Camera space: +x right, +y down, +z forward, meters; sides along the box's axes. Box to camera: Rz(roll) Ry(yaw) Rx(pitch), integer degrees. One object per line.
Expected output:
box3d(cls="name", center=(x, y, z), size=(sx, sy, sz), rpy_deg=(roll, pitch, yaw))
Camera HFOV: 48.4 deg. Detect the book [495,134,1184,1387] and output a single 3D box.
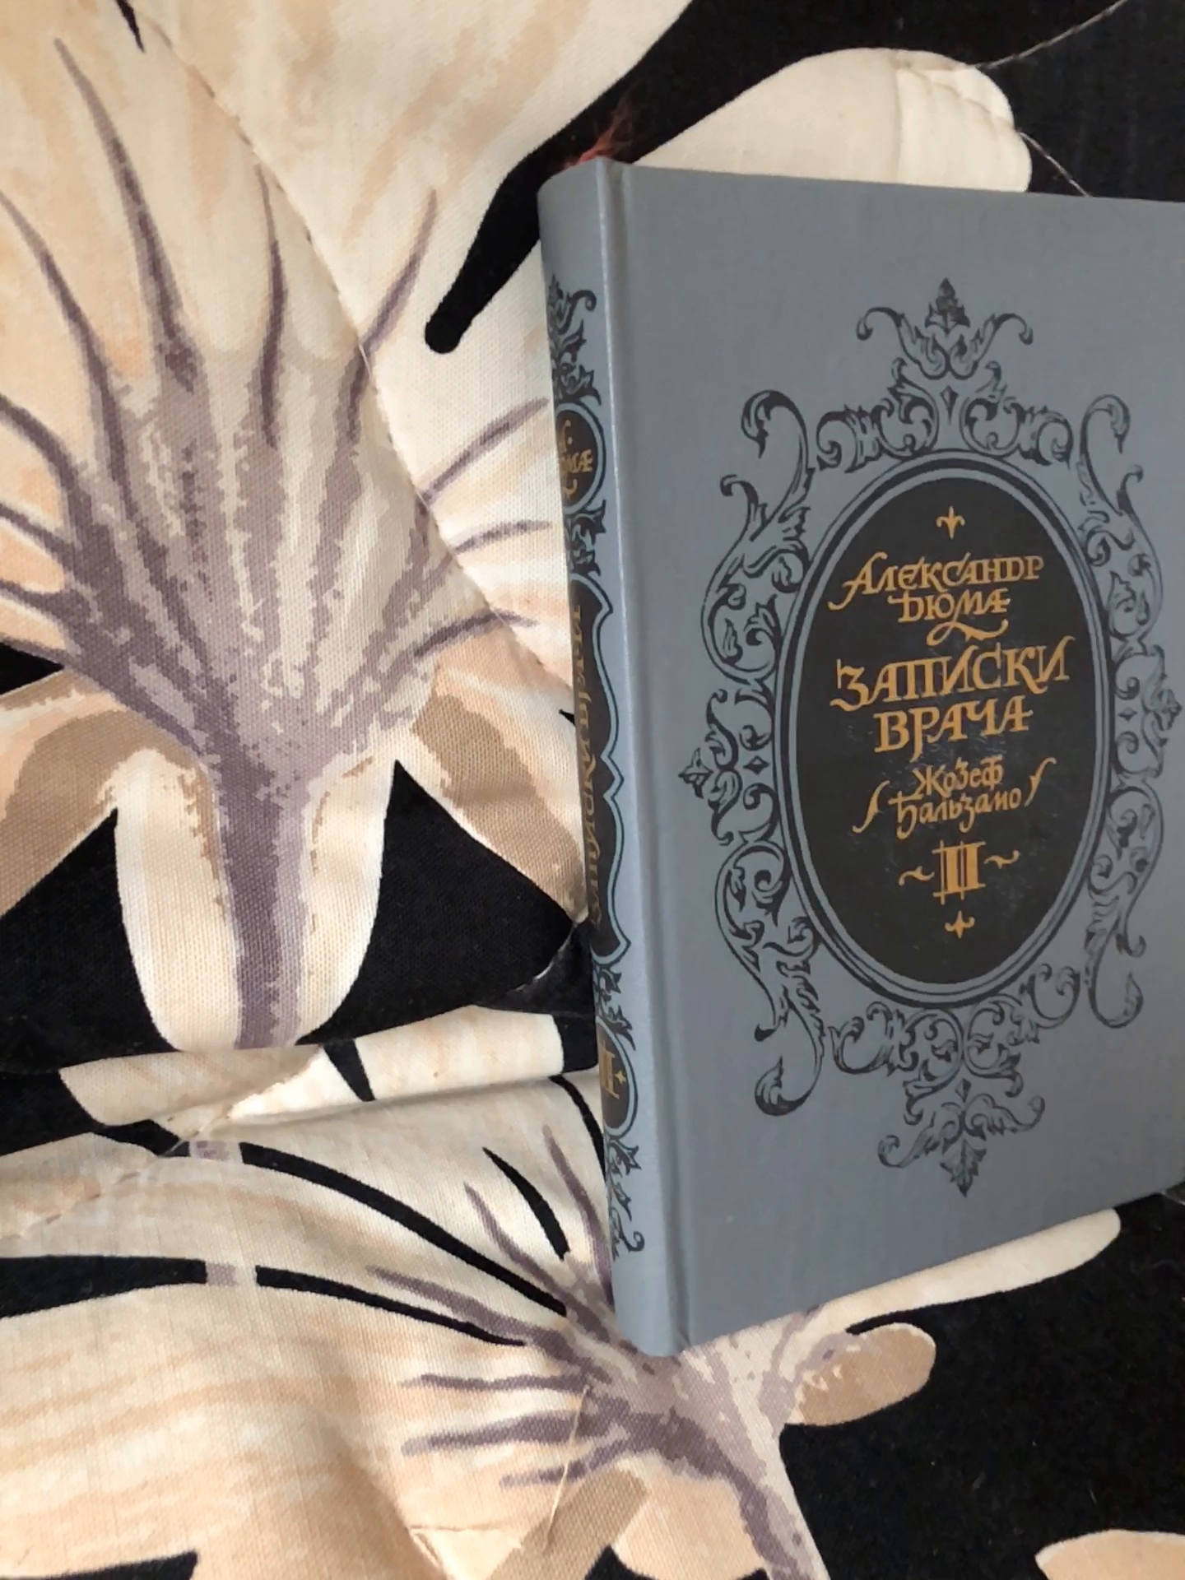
box3d(cls="book", center=(0.059, -0.008, 0.262), size=(0.140, 0.030, 0.210), rpy_deg=(-7, 99, -25))
